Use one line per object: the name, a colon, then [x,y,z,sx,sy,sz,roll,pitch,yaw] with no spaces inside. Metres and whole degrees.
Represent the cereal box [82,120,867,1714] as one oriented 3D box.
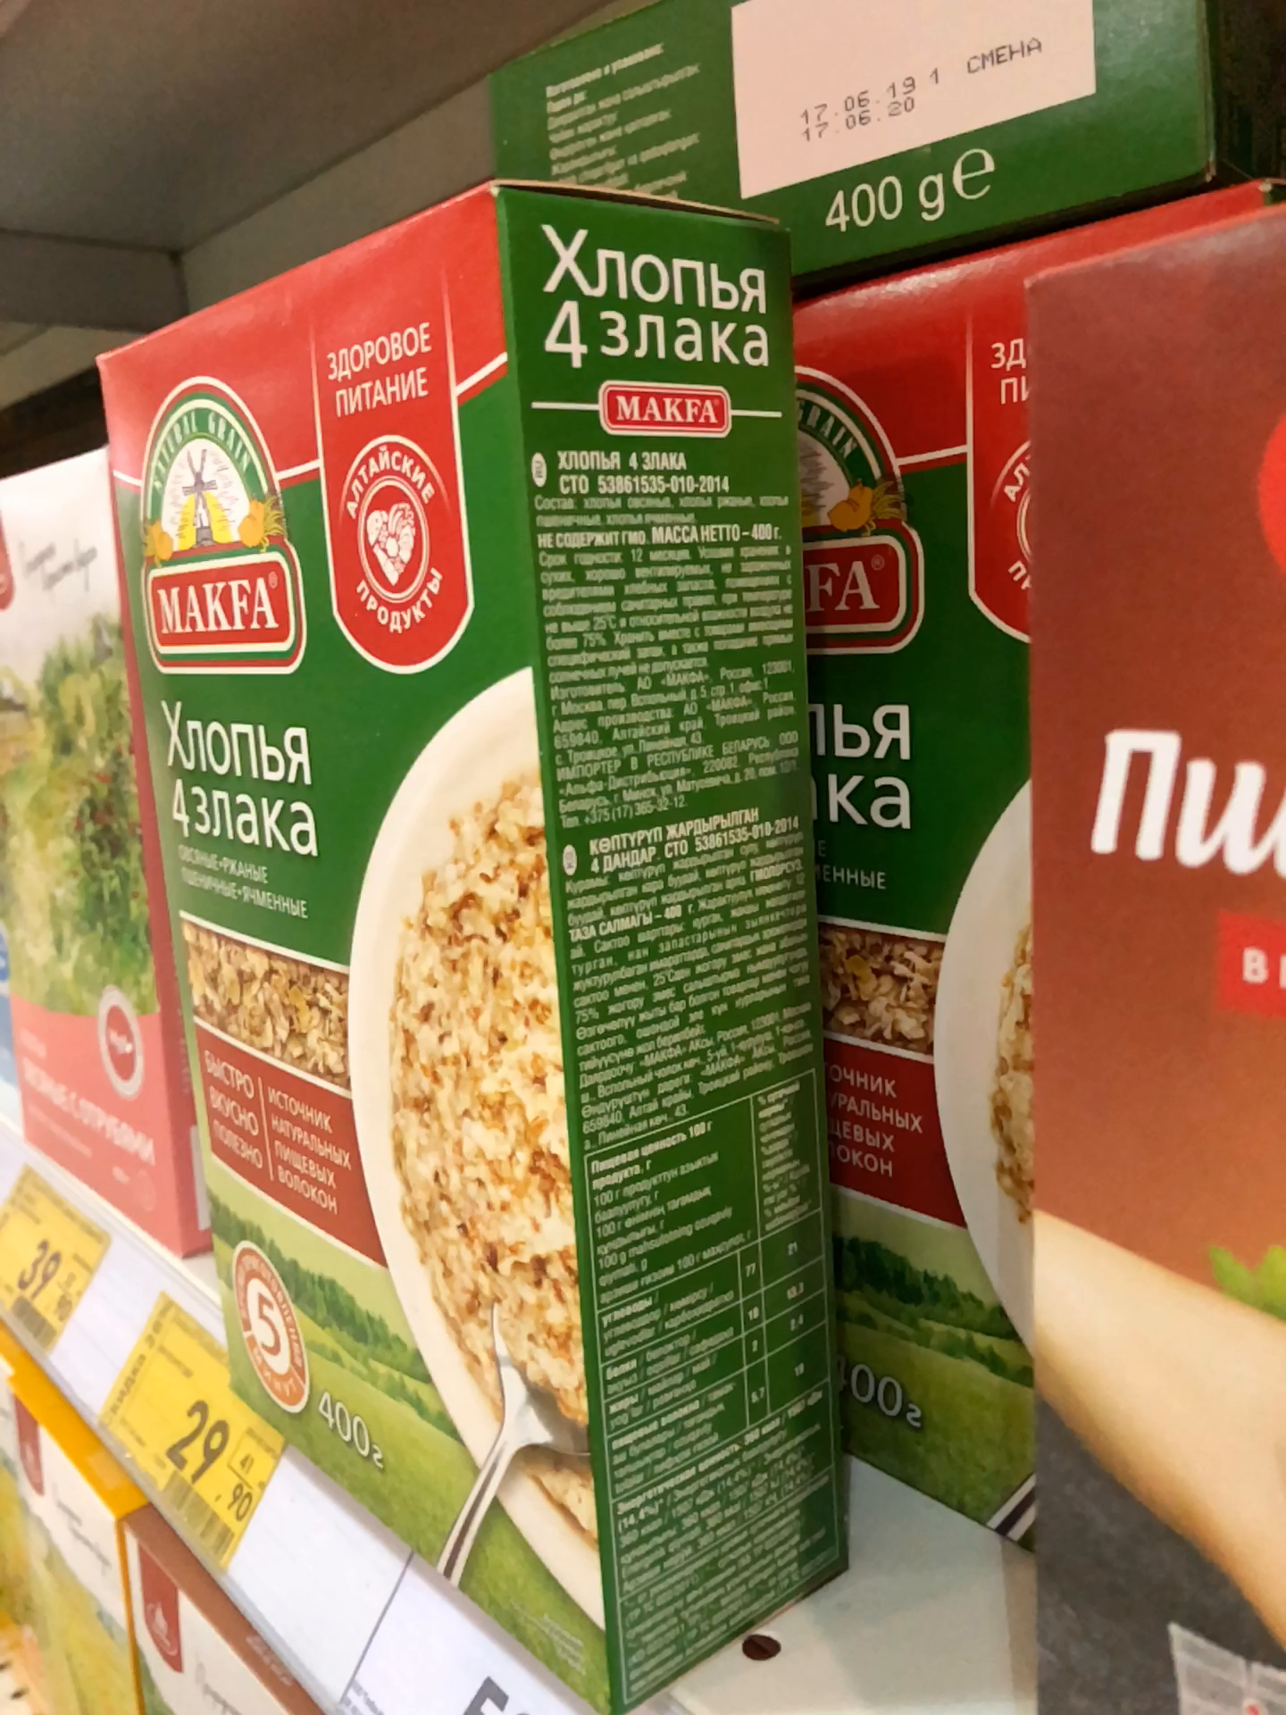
cereal box: [-0.035,0.007,0.250,0.050,0.209,0.140,-12,13,-39]
